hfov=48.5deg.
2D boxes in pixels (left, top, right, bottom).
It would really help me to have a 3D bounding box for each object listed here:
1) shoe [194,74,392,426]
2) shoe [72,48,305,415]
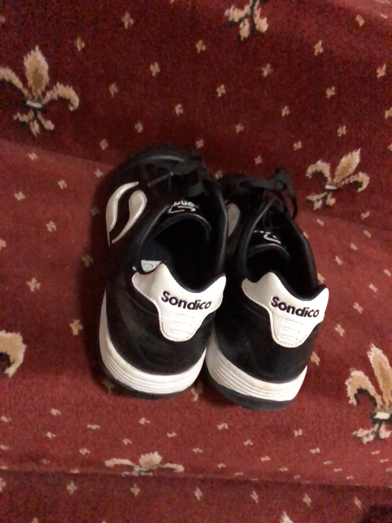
[{"bbox_3d":[0.062,-0.037,0.364,0.100,0.099,0.302,14,41,-13],"label":"shoe"},{"bbox_3d":[-0.018,-0.050,0.343,0.100,0.099,0.302,11,42,-16],"label":"shoe"}]
